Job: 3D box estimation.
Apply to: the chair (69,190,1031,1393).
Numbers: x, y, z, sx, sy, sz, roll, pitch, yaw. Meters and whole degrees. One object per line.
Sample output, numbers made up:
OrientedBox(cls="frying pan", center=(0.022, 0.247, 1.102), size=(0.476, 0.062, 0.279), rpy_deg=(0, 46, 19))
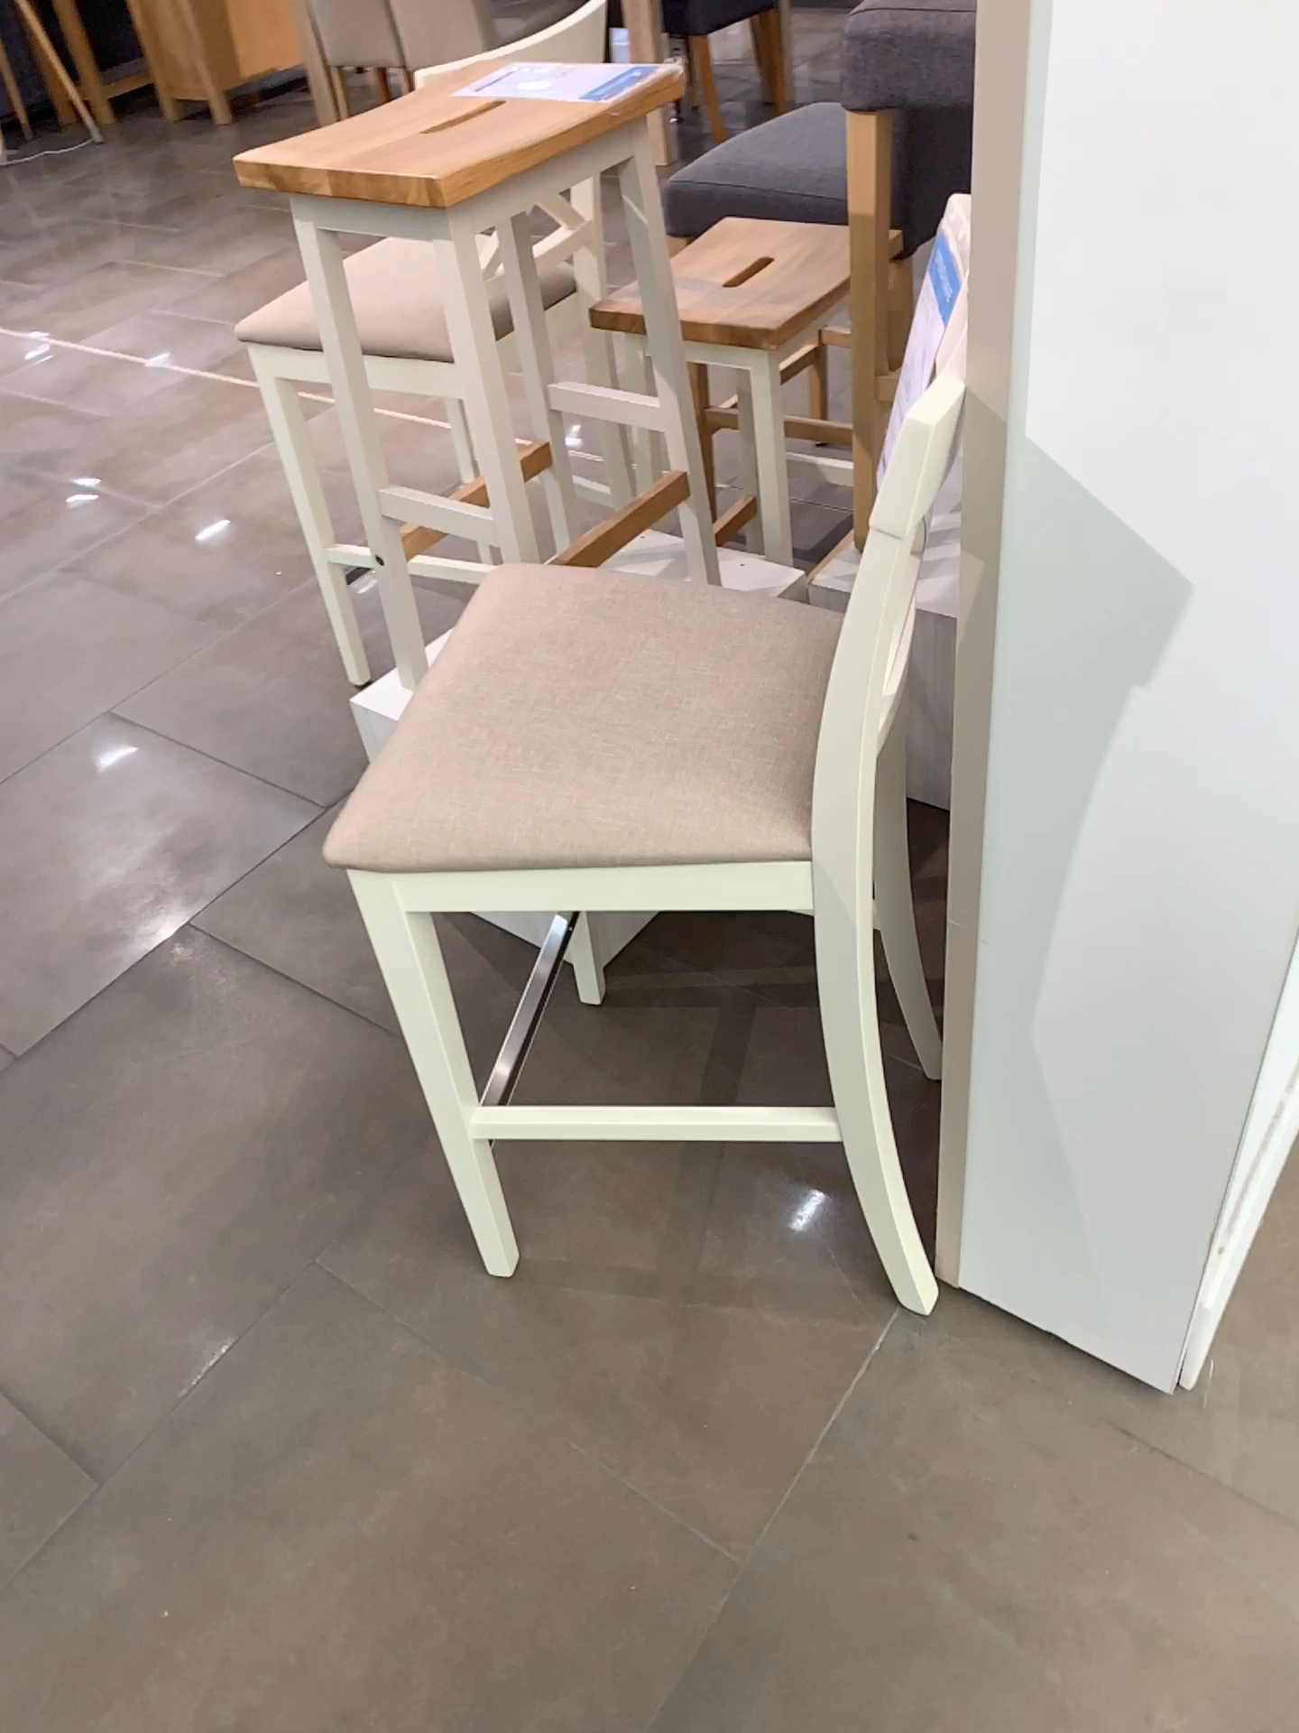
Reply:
OrientedBox(cls="chair", center=(0.023, -0.018, 1.188), size=(0.538, 0.937, 0.453), rpy_deg=(5, 43, 16))
